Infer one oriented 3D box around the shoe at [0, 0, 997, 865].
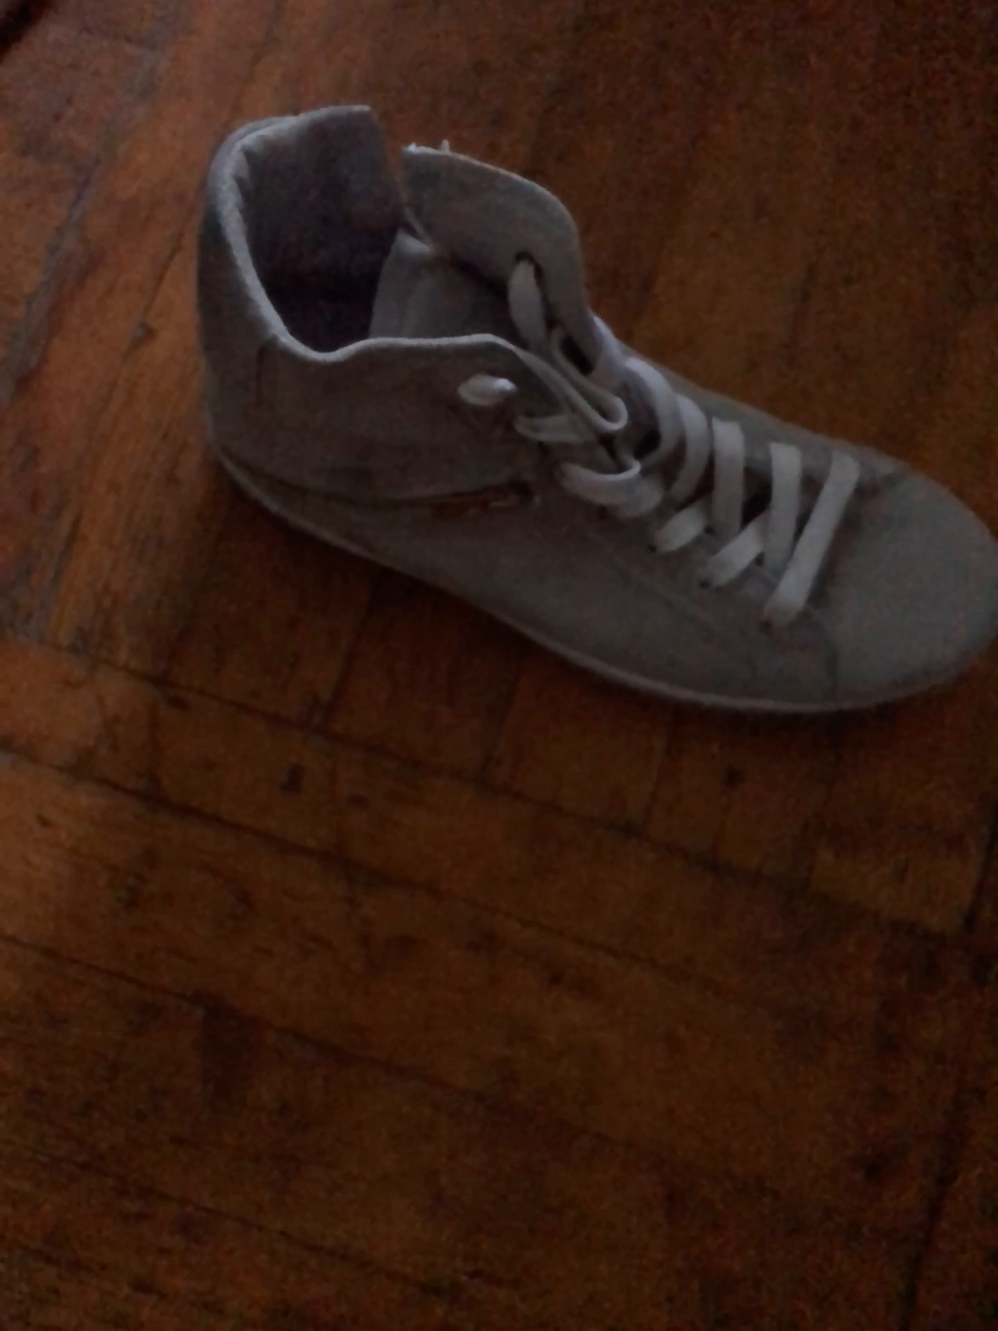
[{"bbox_3d":[0.045,-0.061,0.372,0.310,0.220,0.130,22,84,3],"label":"shoe"}]
